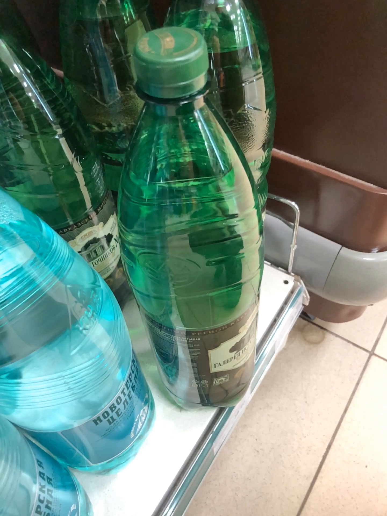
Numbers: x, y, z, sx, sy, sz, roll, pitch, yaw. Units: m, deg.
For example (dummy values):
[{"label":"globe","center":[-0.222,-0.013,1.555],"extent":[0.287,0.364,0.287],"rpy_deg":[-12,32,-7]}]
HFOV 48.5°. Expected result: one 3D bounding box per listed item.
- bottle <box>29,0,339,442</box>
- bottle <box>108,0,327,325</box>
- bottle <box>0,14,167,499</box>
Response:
[{"label":"bottle","center":[0.004,0.015,0.293],"extent":[0.088,0.308,0.092],"rpy_deg":[-1,51,2]},{"label":"bottle","center":[0.021,-0.079,0.358],"extent":[0.082,0.326,0.092],"rpy_deg":[26,57,21]},{"label":"bottle","center":[-0.084,0.051,0.258],"extent":[0.076,0.326,0.084],"rpy_deg":[-1,51,2]}]
